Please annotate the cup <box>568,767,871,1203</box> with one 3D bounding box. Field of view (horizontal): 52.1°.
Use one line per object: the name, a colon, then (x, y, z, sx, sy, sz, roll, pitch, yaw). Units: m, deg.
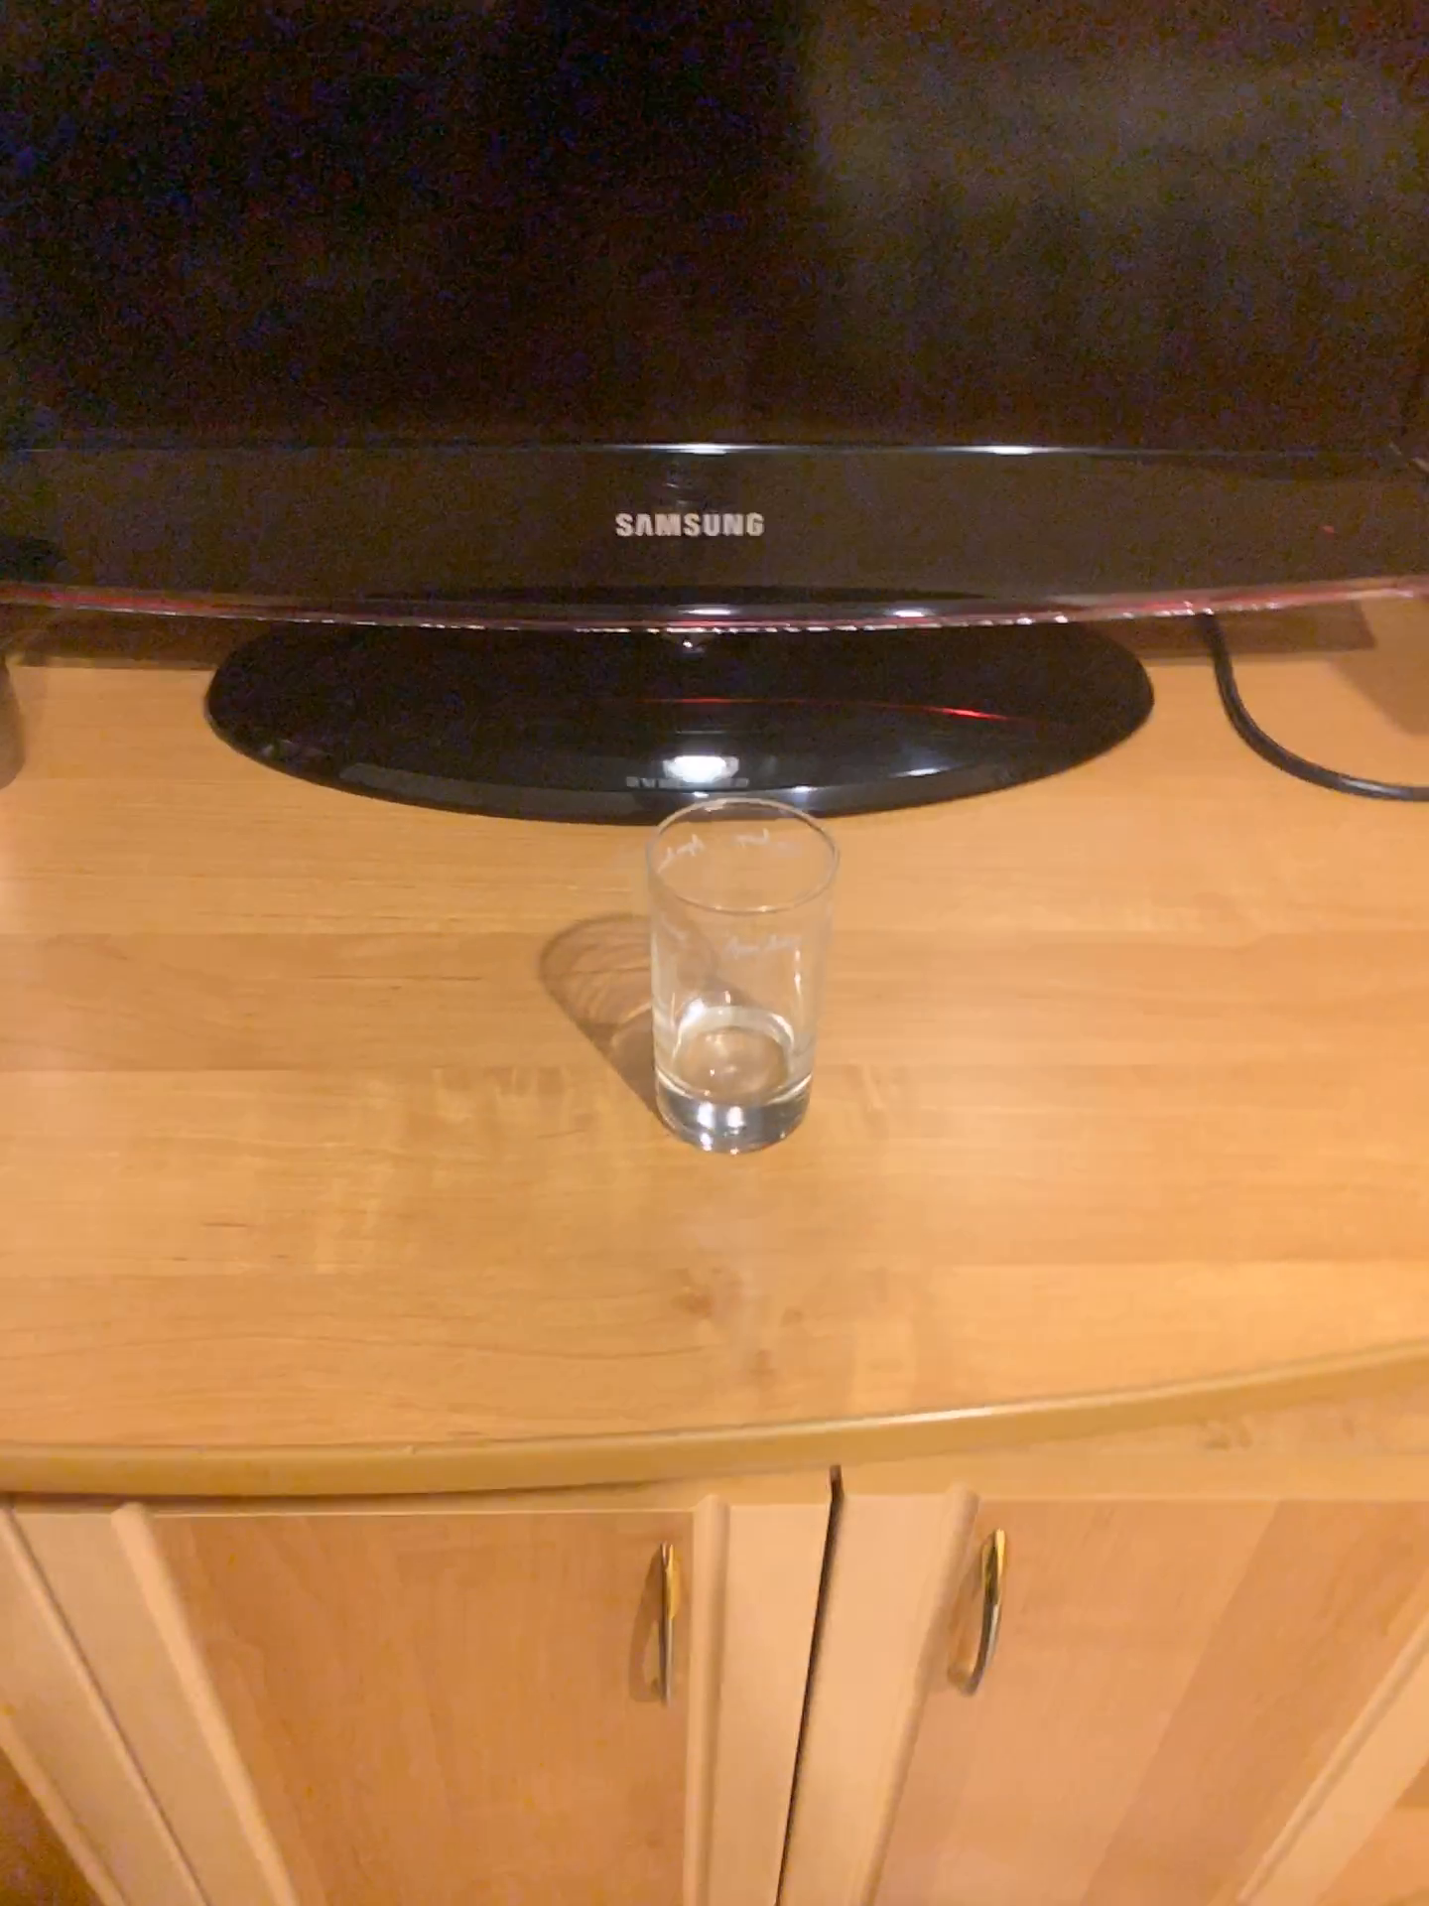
cup: (0.001, 0.009, 0.438, 0.060, 0.099, 0.060, 1, 39, 0)
